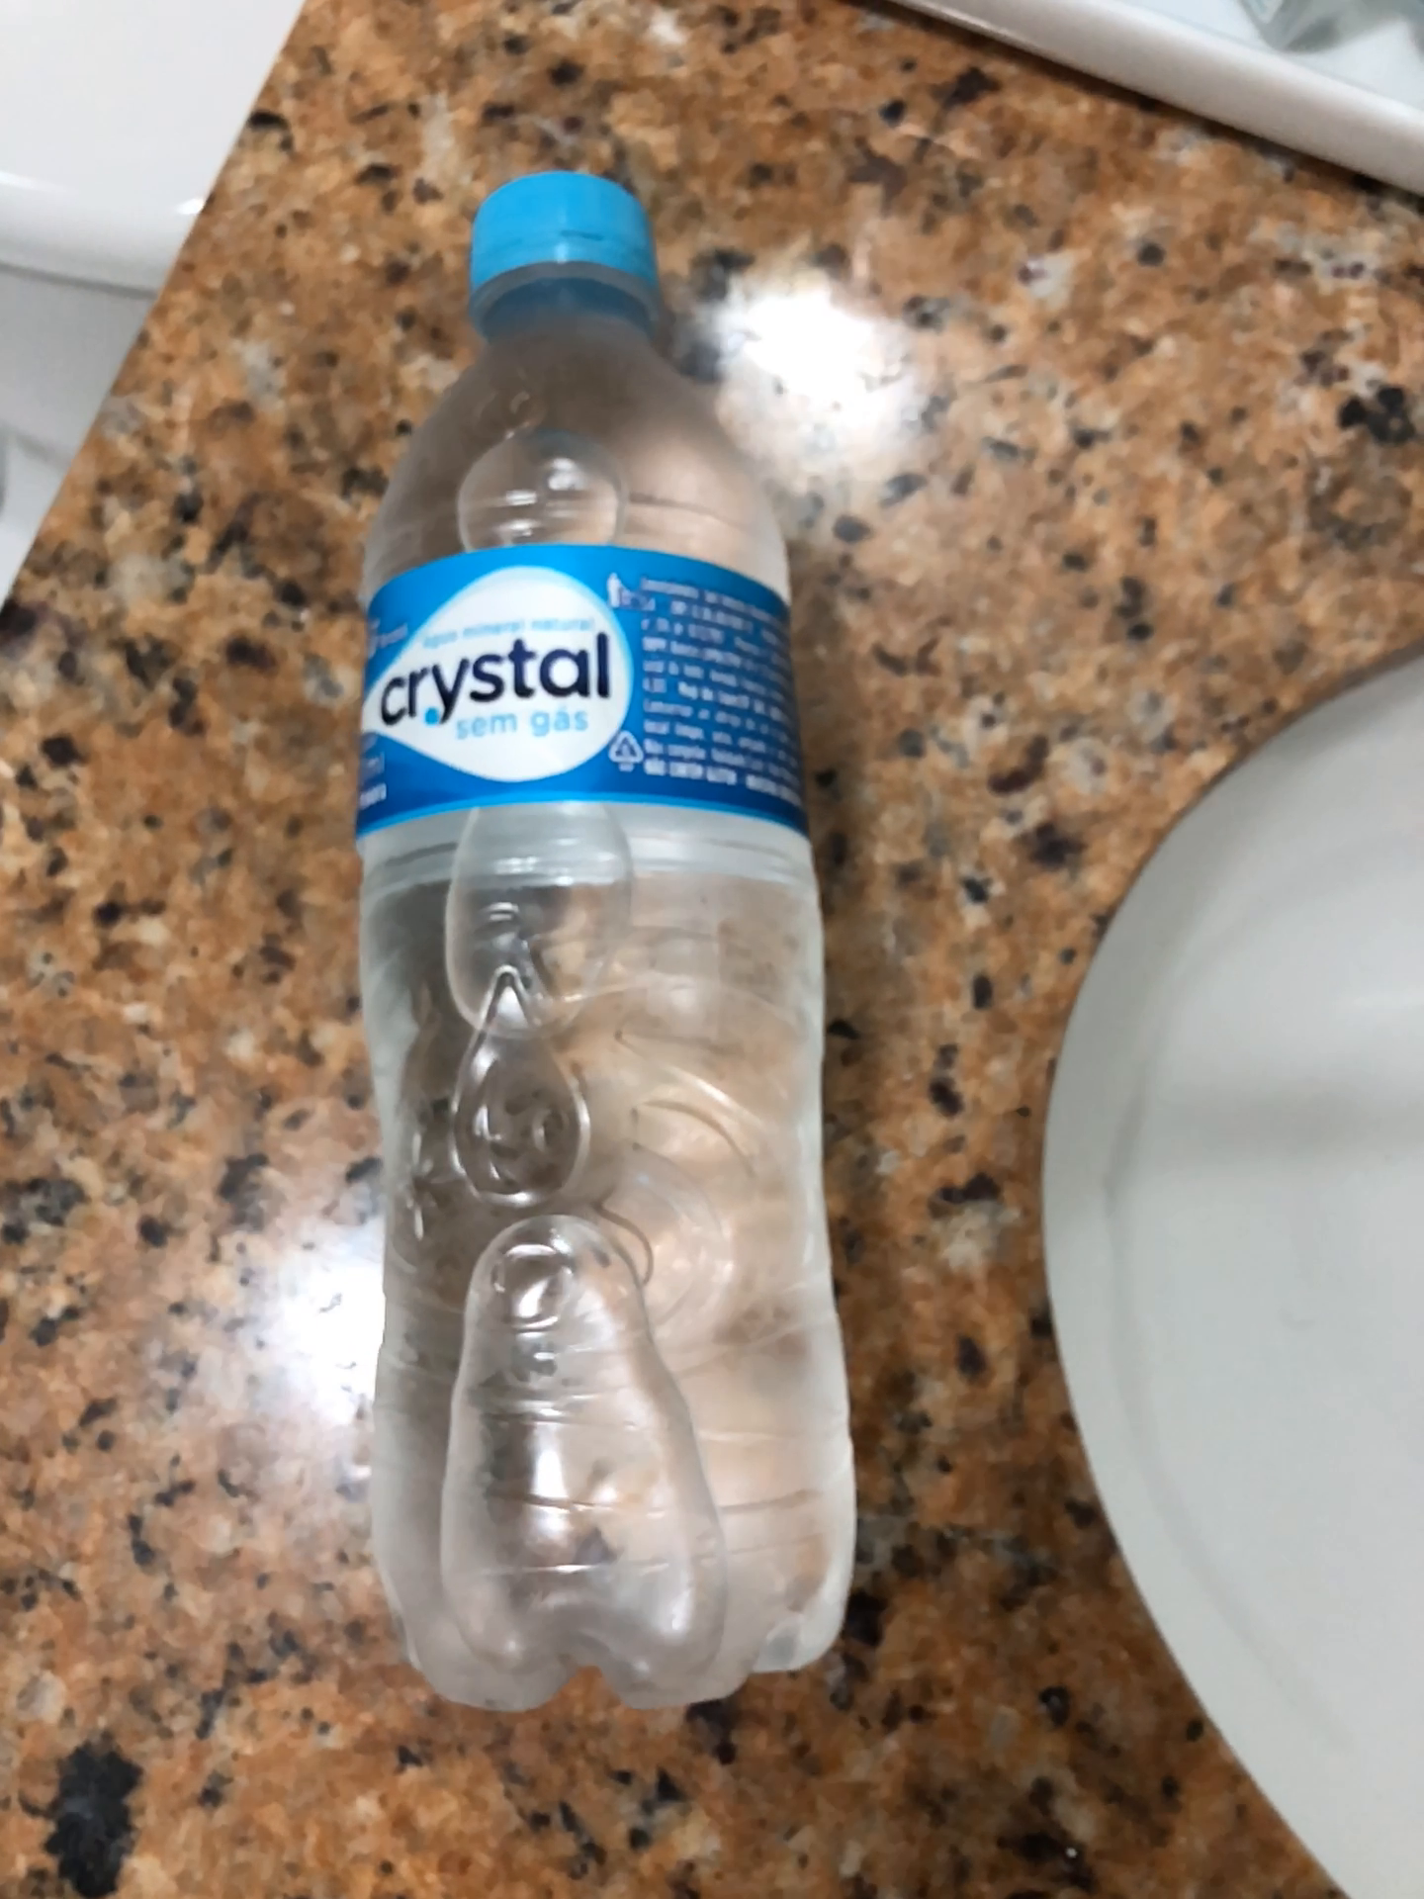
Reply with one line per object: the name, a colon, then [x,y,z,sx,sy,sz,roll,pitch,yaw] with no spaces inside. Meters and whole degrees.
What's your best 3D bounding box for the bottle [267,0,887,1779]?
bottle: [-0.021,-0.015,0.230,0.070,0.050,0.230,-4,78,2]
